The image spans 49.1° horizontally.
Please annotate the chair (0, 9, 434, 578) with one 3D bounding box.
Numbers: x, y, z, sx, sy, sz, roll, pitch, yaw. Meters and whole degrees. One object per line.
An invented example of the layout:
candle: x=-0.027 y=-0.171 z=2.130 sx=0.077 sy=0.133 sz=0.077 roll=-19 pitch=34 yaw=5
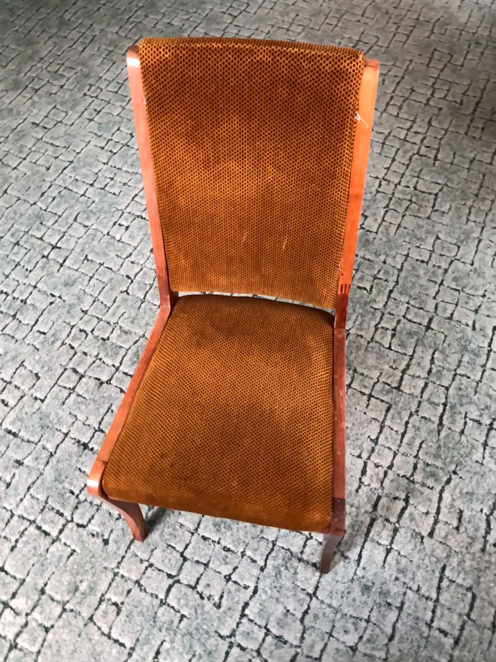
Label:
chair: x=-0.026 y=0.058 z=0.963 sx=0.470 sy=0.925 sz=0.531 roll=7 pitch=60 yaw=7
